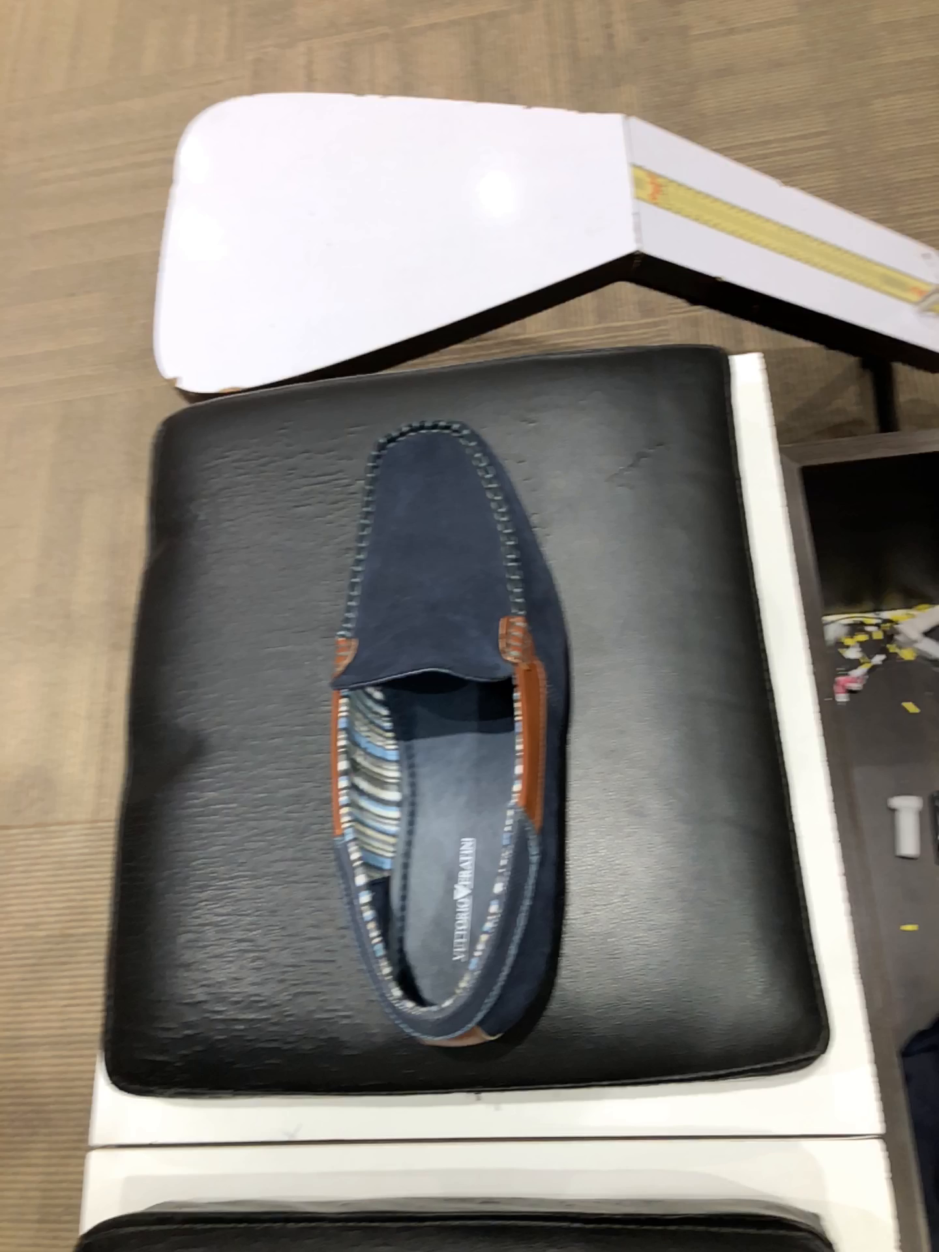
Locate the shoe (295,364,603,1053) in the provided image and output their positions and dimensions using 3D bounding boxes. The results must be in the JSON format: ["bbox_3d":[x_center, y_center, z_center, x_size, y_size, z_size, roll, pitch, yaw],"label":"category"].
[{"bbox_3d":[-0.012,0.037,0.483,0.110,0.100,0.292,-7,68,9],"label":"shoe"}]
